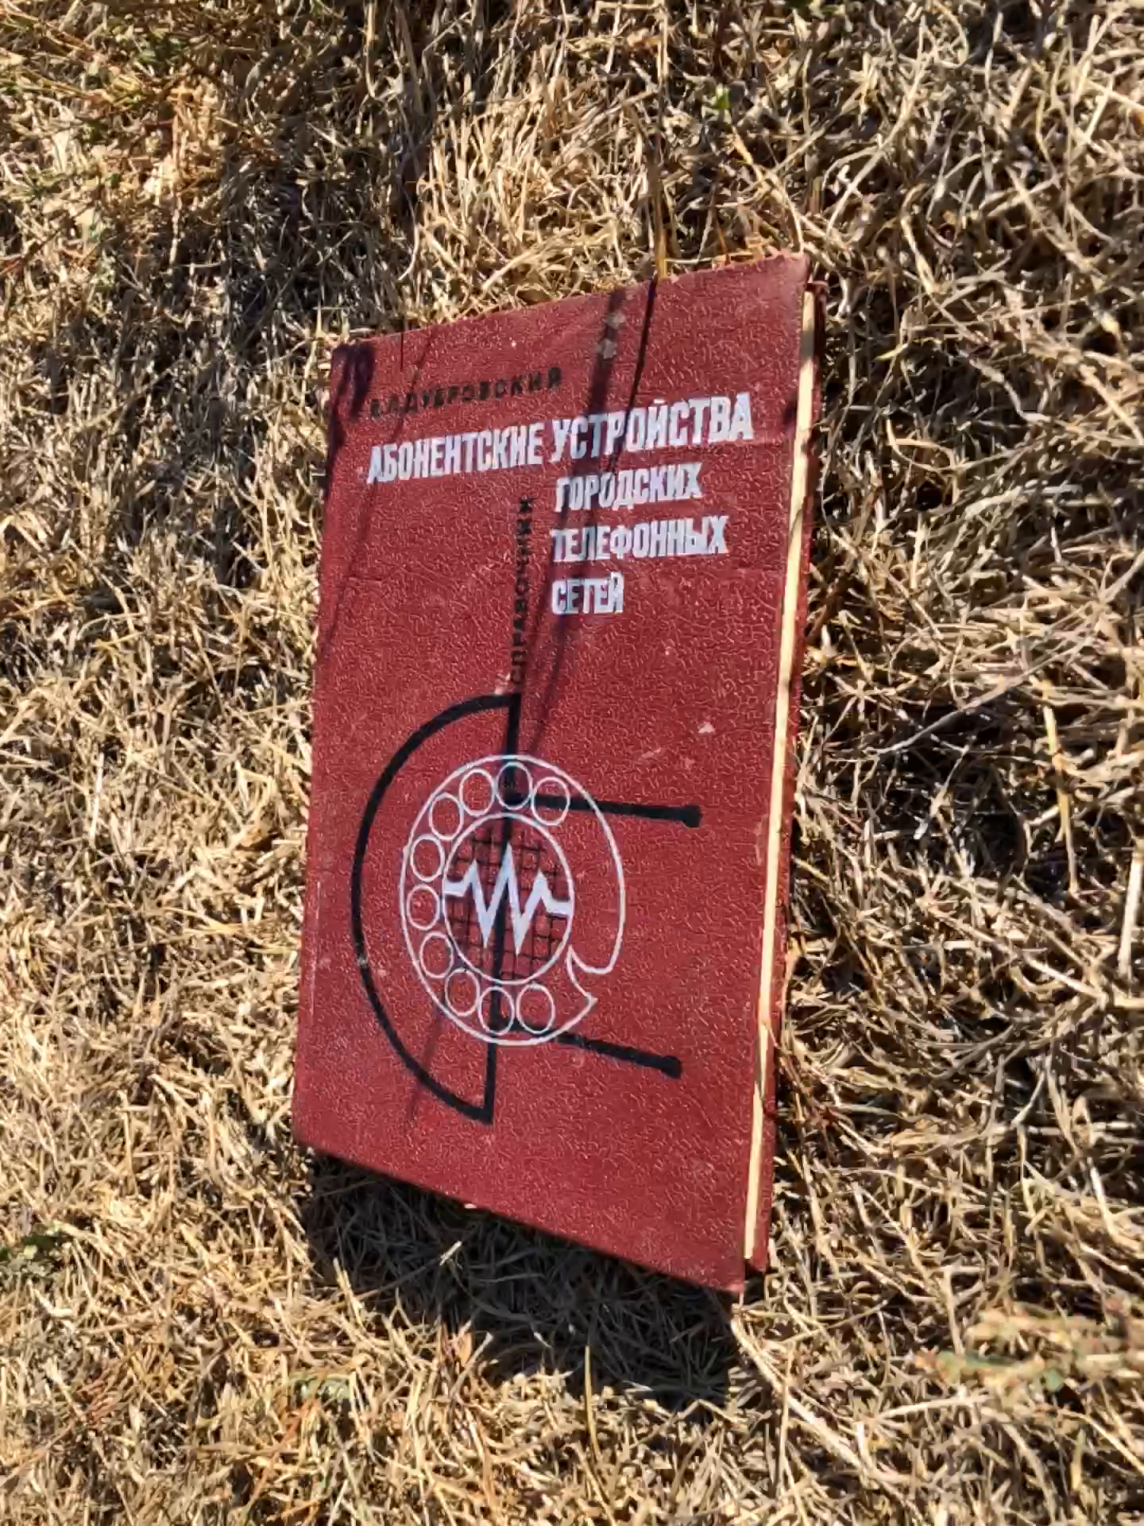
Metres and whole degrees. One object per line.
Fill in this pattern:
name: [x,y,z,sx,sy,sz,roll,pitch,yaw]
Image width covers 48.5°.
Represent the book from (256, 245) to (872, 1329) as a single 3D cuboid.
book: [-0.010,0.002,0.300,0.142,0.030,0.211,5,92,35]
